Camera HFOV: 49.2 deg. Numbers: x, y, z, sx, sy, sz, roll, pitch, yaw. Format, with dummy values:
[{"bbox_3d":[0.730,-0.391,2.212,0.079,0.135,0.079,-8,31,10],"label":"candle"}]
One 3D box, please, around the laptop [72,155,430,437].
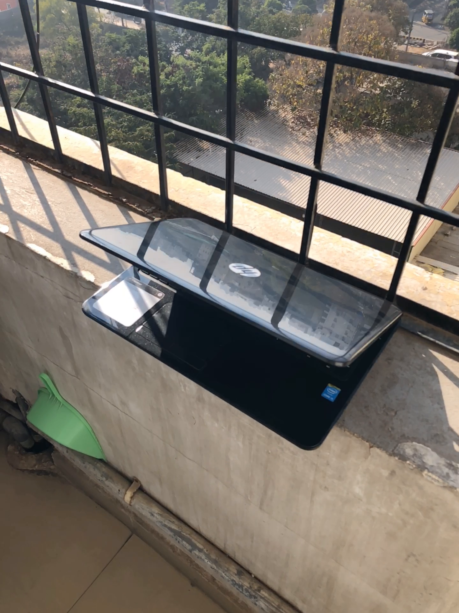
[{"bbox_3d":[0.025,-0.046,0.645,0.364,0.113,0.245,27,49,25],"label":"laptop"}]
